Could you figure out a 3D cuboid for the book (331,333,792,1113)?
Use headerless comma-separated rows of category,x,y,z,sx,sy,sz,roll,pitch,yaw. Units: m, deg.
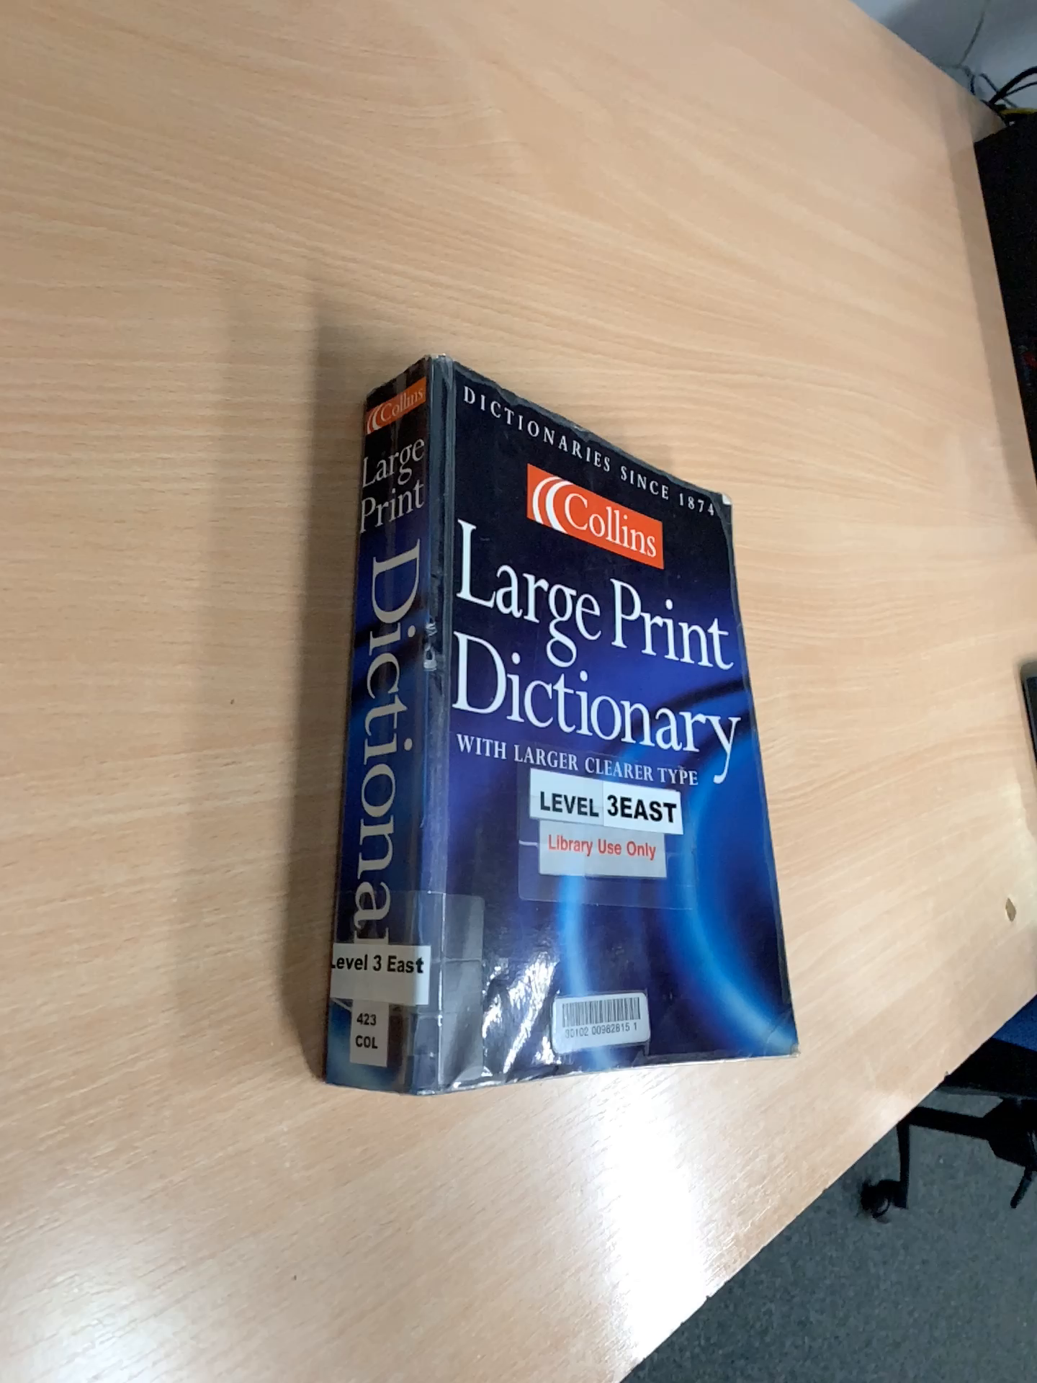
book,0.027,0.018,0.406,0.189,0.050,0.243,13,72,-44
